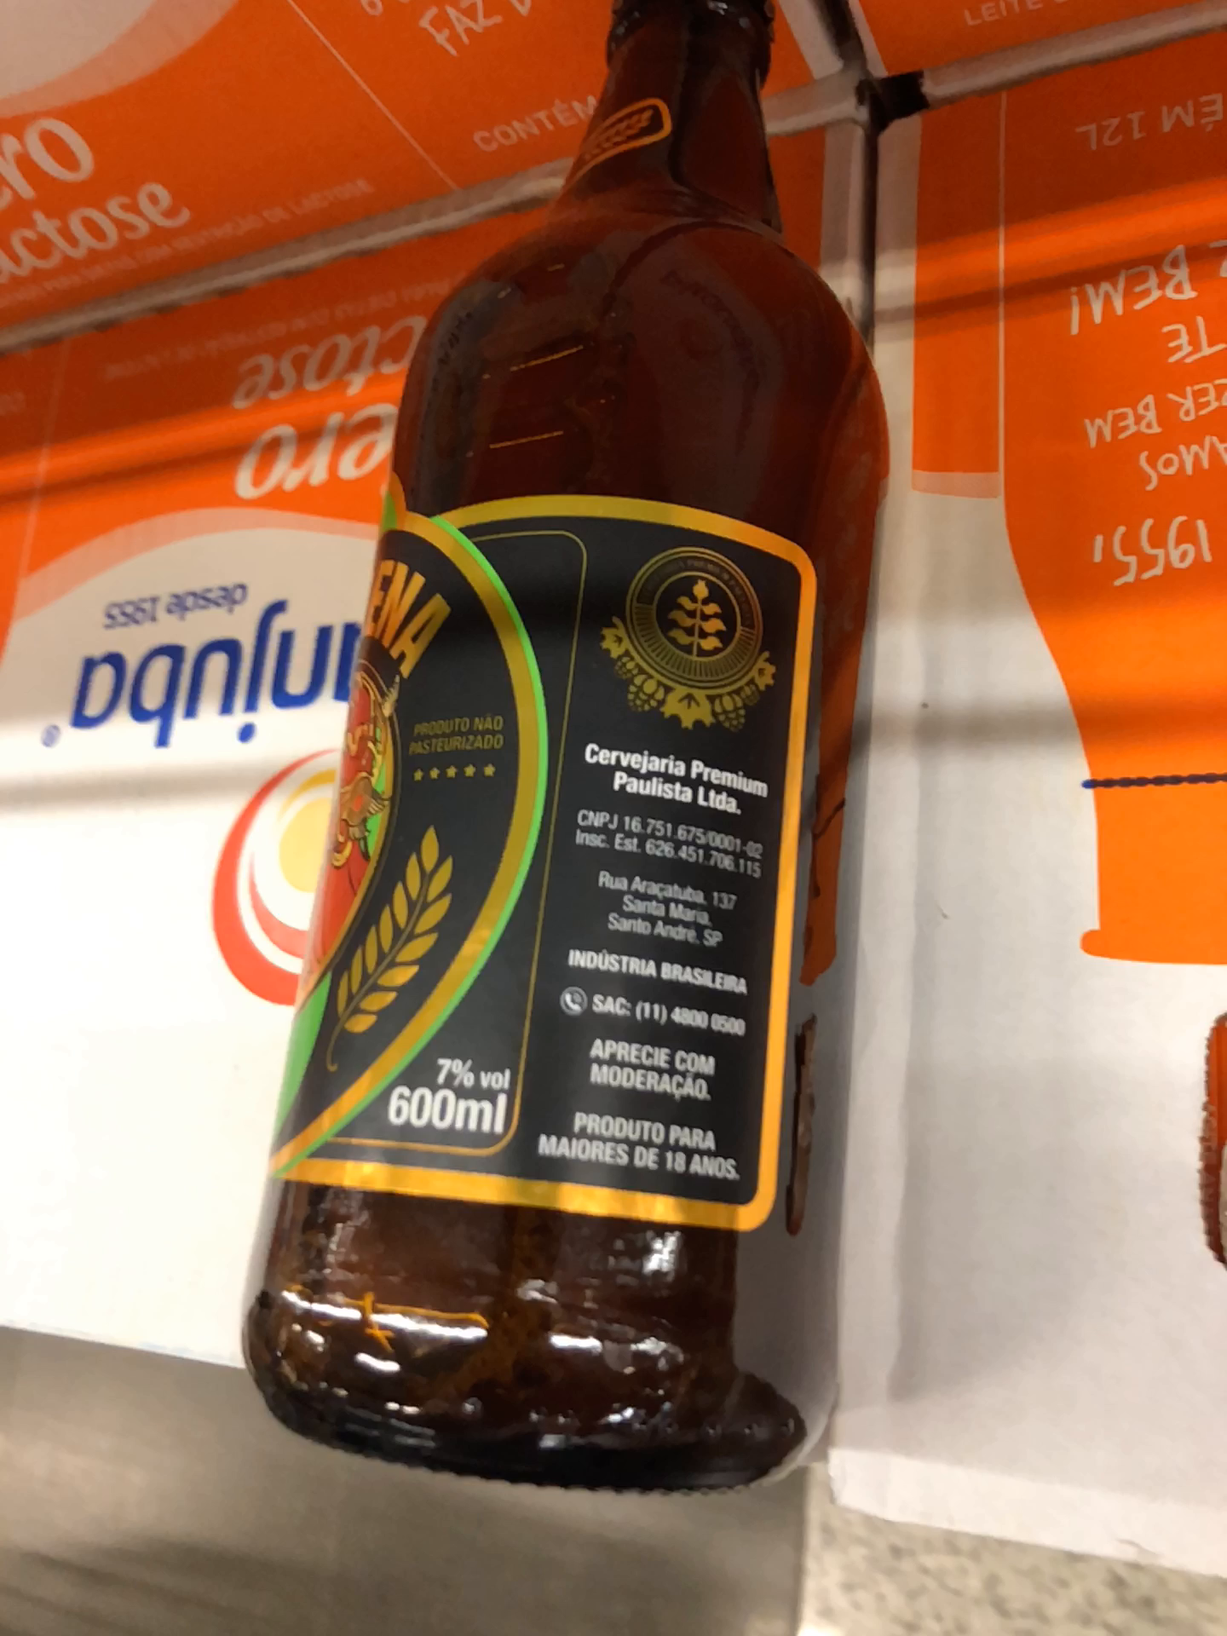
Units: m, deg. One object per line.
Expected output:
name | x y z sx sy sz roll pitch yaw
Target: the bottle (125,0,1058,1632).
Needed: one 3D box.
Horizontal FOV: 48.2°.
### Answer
bottle | 0.011 -0.050 0.210 0.100 0.060 0.280 -3 72 27
